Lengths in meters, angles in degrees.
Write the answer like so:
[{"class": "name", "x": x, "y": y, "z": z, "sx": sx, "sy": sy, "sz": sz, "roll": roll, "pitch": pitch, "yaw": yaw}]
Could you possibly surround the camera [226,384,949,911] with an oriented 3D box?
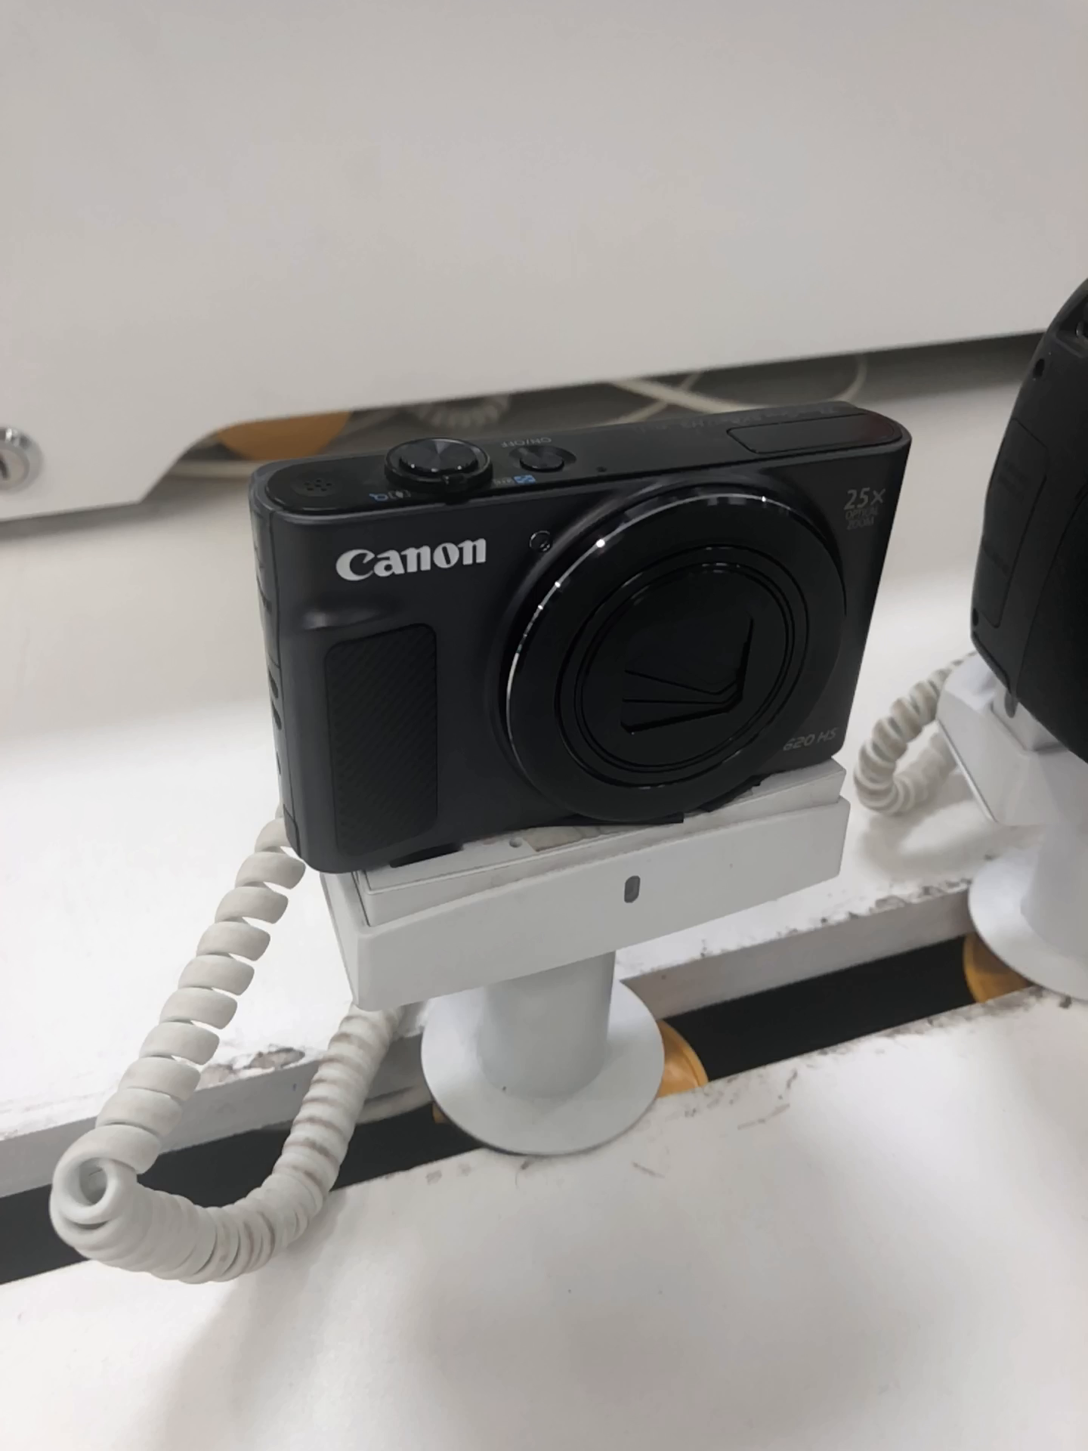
[{"class": "camera", "x": 0.006, "y": -0.013, "z": 0.178, "sx": 0.093, "sy": 0.057, "sz": 0.025, "roll": -12, "pitch": 41, "yaw": -19}]
